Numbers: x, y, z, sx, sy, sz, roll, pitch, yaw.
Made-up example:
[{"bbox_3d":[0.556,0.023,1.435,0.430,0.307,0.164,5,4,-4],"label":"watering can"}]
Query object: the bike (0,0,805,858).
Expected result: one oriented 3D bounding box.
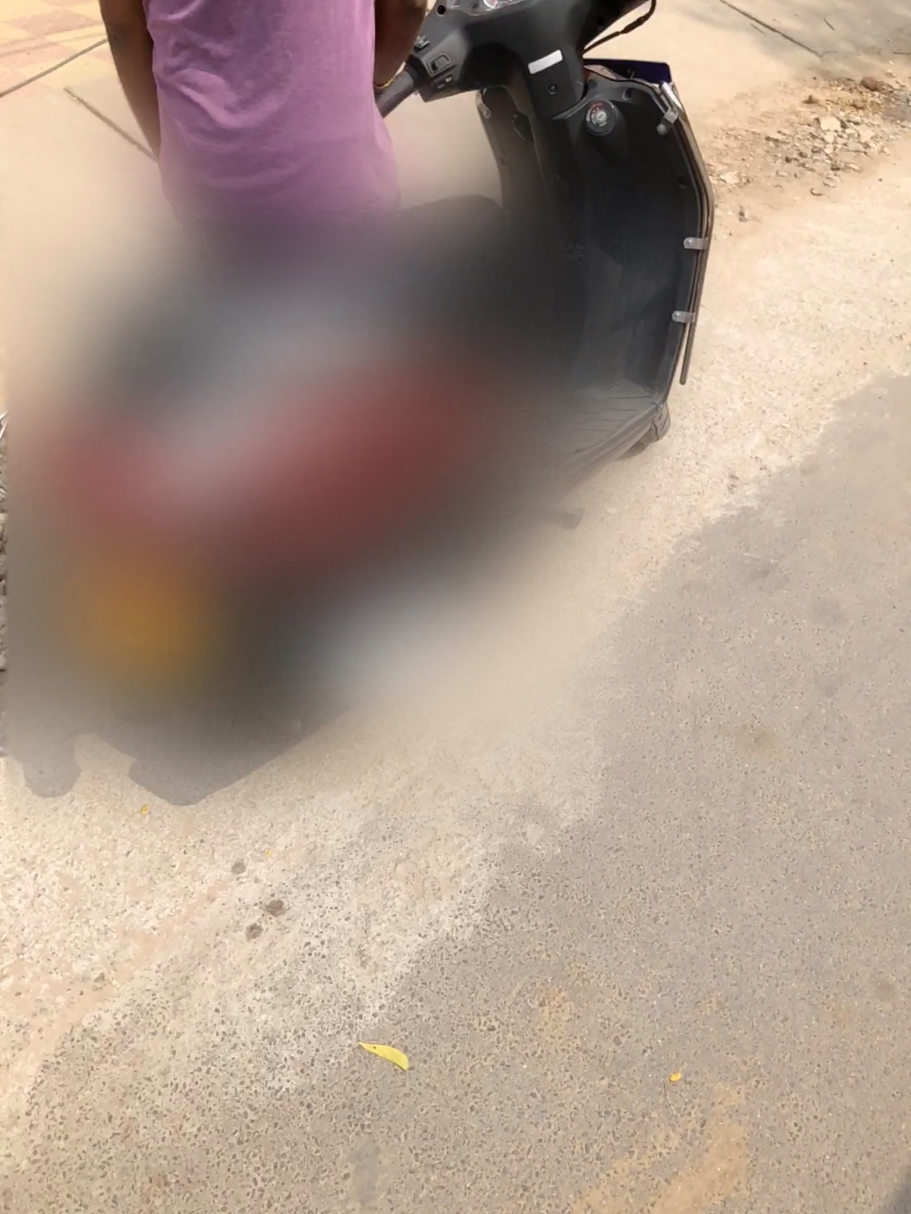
[{"bbox_3d":[-0.050,-0.599,1.919,0.674,1.125,1.626,24,48,21],"label":"bike"}]
